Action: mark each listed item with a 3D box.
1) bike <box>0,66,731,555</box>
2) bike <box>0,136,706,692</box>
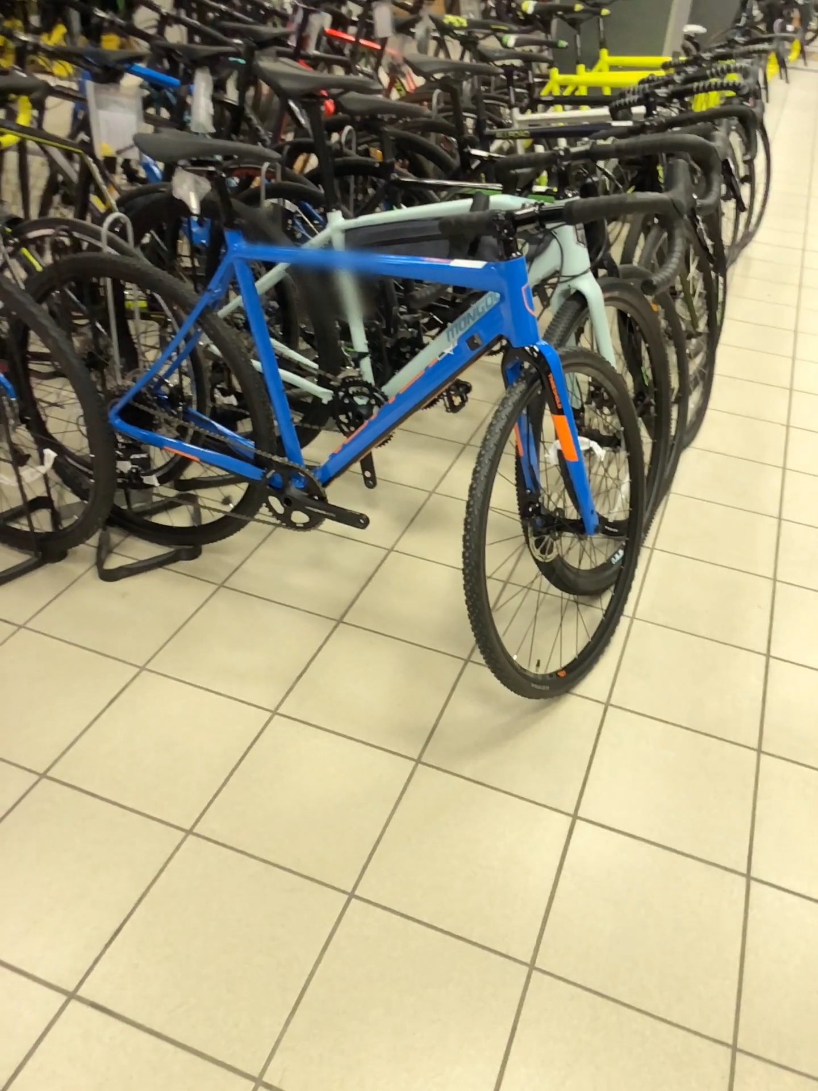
[{"bbox_3d":[-0.049,-0.599,2.248,1.421,0.870,0.619,9,35,5],"label":"bike"},{"bbox_3d":[-0.173,-0.295,2.047,1.469,0.805,0.528,13,35,2],"label":"bike"}]
